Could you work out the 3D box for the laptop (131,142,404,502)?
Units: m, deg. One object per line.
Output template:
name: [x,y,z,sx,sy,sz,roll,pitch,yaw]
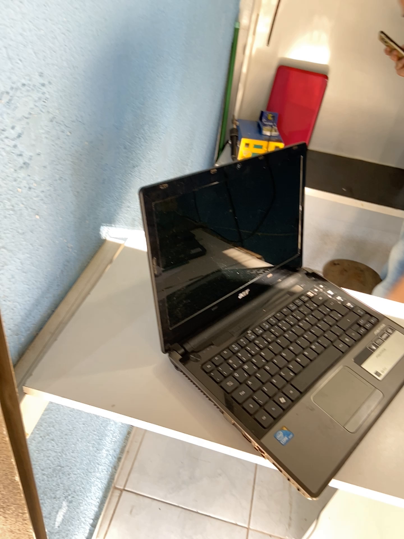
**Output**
laptop: [0.142,0.017,0.553,0.338,0.207,0.318,-26,50,-38]
